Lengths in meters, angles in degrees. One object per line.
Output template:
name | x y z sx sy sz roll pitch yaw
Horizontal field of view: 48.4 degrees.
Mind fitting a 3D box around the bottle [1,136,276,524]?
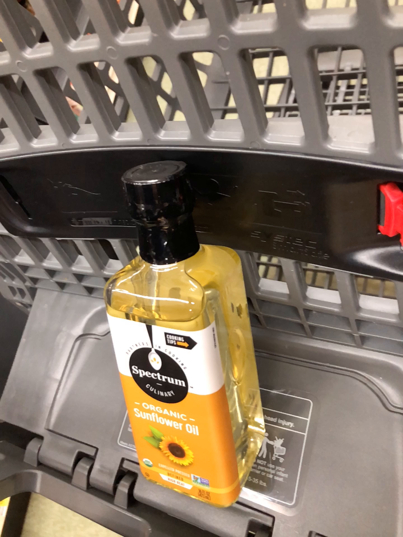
bottle | -0.016 0.039 0.246 0.080 0.200 0.070 6 36 27
